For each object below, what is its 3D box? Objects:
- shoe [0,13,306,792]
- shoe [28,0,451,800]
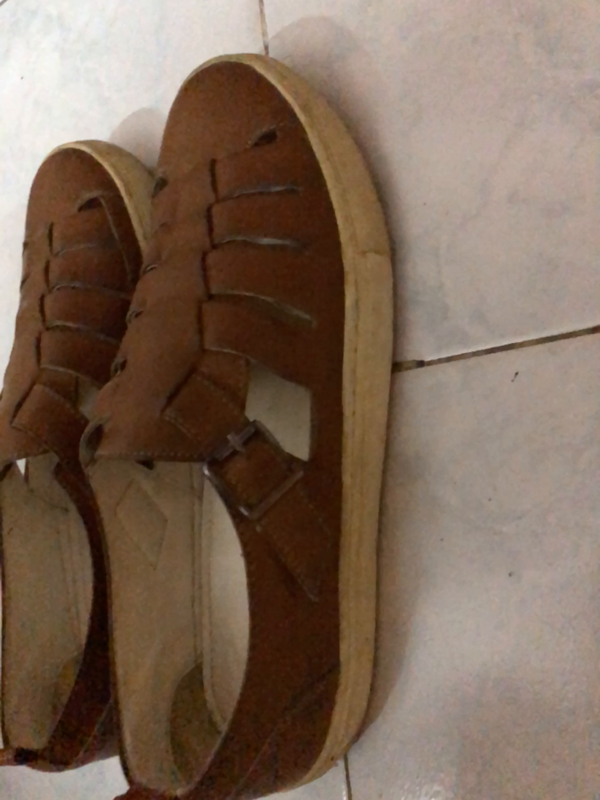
[{"bbox_3d":[-0.094,0.001,0.323,0.110,0.100,0.300,-16,79,35],"label":"shoe"},{"bbox_3d":[-0.027,-0.008,0.268,0.110,0.100,0.300,-9,83,36],"label":"shoe"}]
